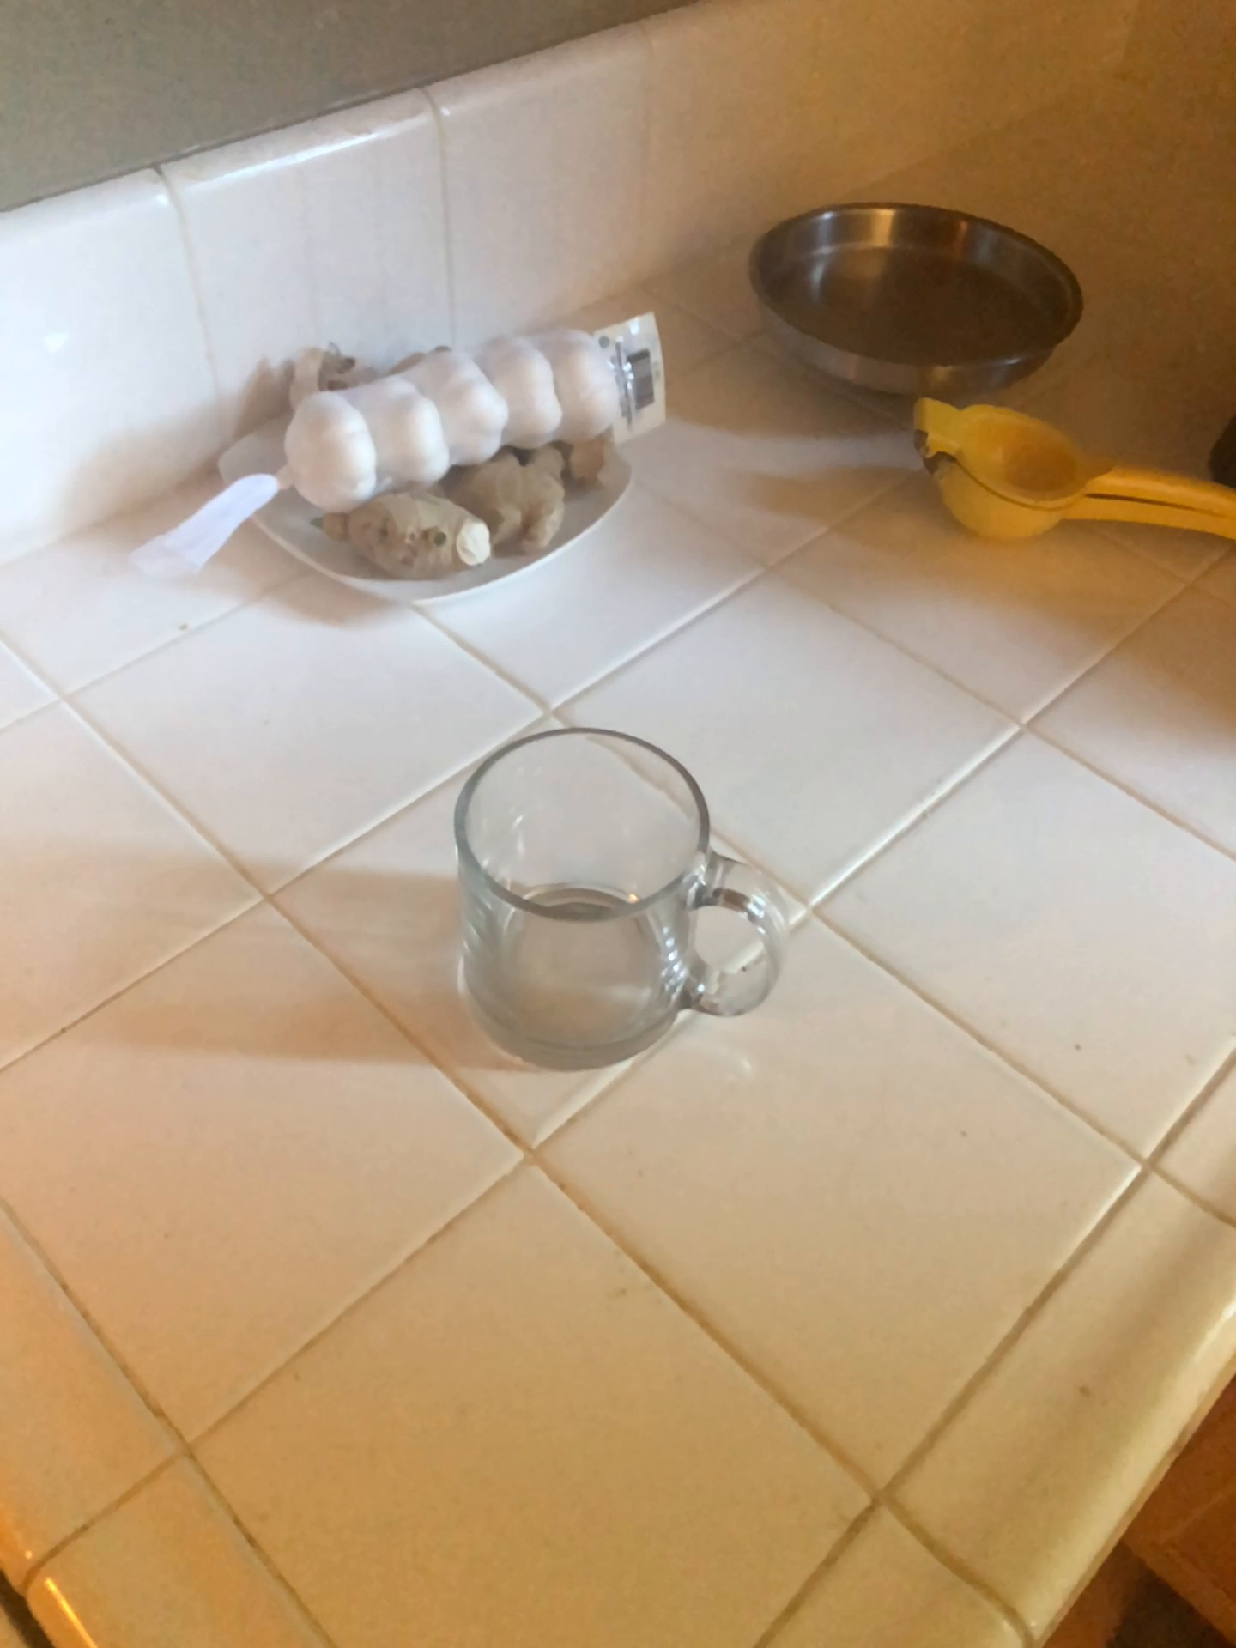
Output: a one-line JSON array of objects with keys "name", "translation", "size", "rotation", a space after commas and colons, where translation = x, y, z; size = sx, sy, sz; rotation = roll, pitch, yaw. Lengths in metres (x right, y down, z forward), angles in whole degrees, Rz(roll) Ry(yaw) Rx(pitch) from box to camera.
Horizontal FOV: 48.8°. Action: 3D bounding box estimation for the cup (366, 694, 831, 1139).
[{"name": "cup", "translation": [-0.004, 0.030, 0.467], "size": [0.130, 0.079, 0.101], "rotation": [12, 49, 6]}]
